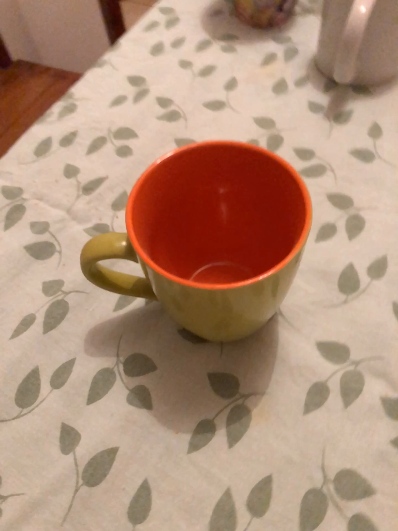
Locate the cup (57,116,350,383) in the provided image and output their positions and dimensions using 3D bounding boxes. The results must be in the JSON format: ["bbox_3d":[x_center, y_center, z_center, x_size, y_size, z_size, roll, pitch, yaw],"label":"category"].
[{"bbox_3d":[-0.002,-0.005,0.243,0.120,0.090,0.090,-11,59,-3],"label":"cup"}]
